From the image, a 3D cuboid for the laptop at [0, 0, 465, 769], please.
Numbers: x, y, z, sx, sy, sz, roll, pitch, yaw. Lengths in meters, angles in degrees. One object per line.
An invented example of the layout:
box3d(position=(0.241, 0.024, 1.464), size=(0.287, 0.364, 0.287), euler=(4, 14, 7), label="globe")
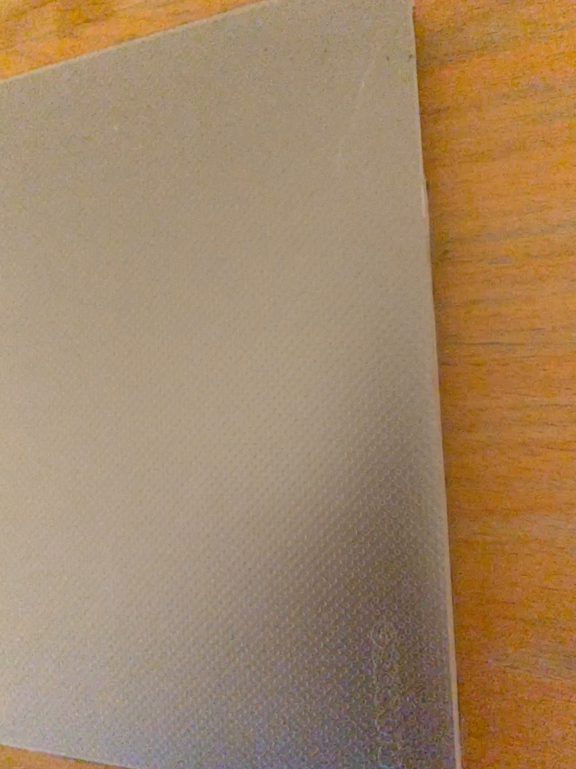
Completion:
box3d(position=(-0.098, 0.007, 0.210), size=(0.293, 0.005, 0.210), euler=(-4, 86, 22), label="laptop")
